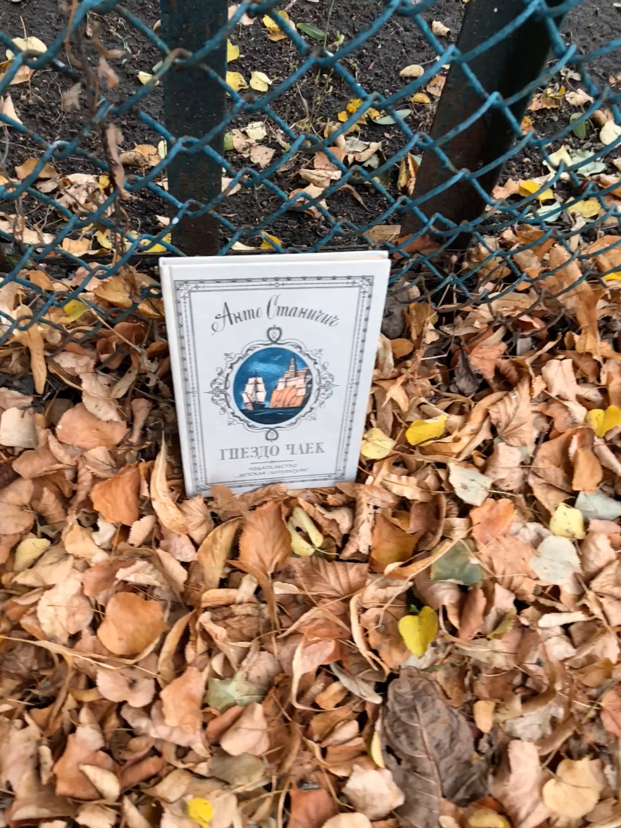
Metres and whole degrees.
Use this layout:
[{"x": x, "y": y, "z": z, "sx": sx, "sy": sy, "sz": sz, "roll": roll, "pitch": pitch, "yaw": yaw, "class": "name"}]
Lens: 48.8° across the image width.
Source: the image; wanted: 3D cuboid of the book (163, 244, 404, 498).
[{"x": -0.019, "y": -0.017, "z": 0.439, "sx": 0.128, "sy": 0.200, "sz": 0.016, "roll": -3, "pitch": 47, "yaw": -7, "class": "book"}]
